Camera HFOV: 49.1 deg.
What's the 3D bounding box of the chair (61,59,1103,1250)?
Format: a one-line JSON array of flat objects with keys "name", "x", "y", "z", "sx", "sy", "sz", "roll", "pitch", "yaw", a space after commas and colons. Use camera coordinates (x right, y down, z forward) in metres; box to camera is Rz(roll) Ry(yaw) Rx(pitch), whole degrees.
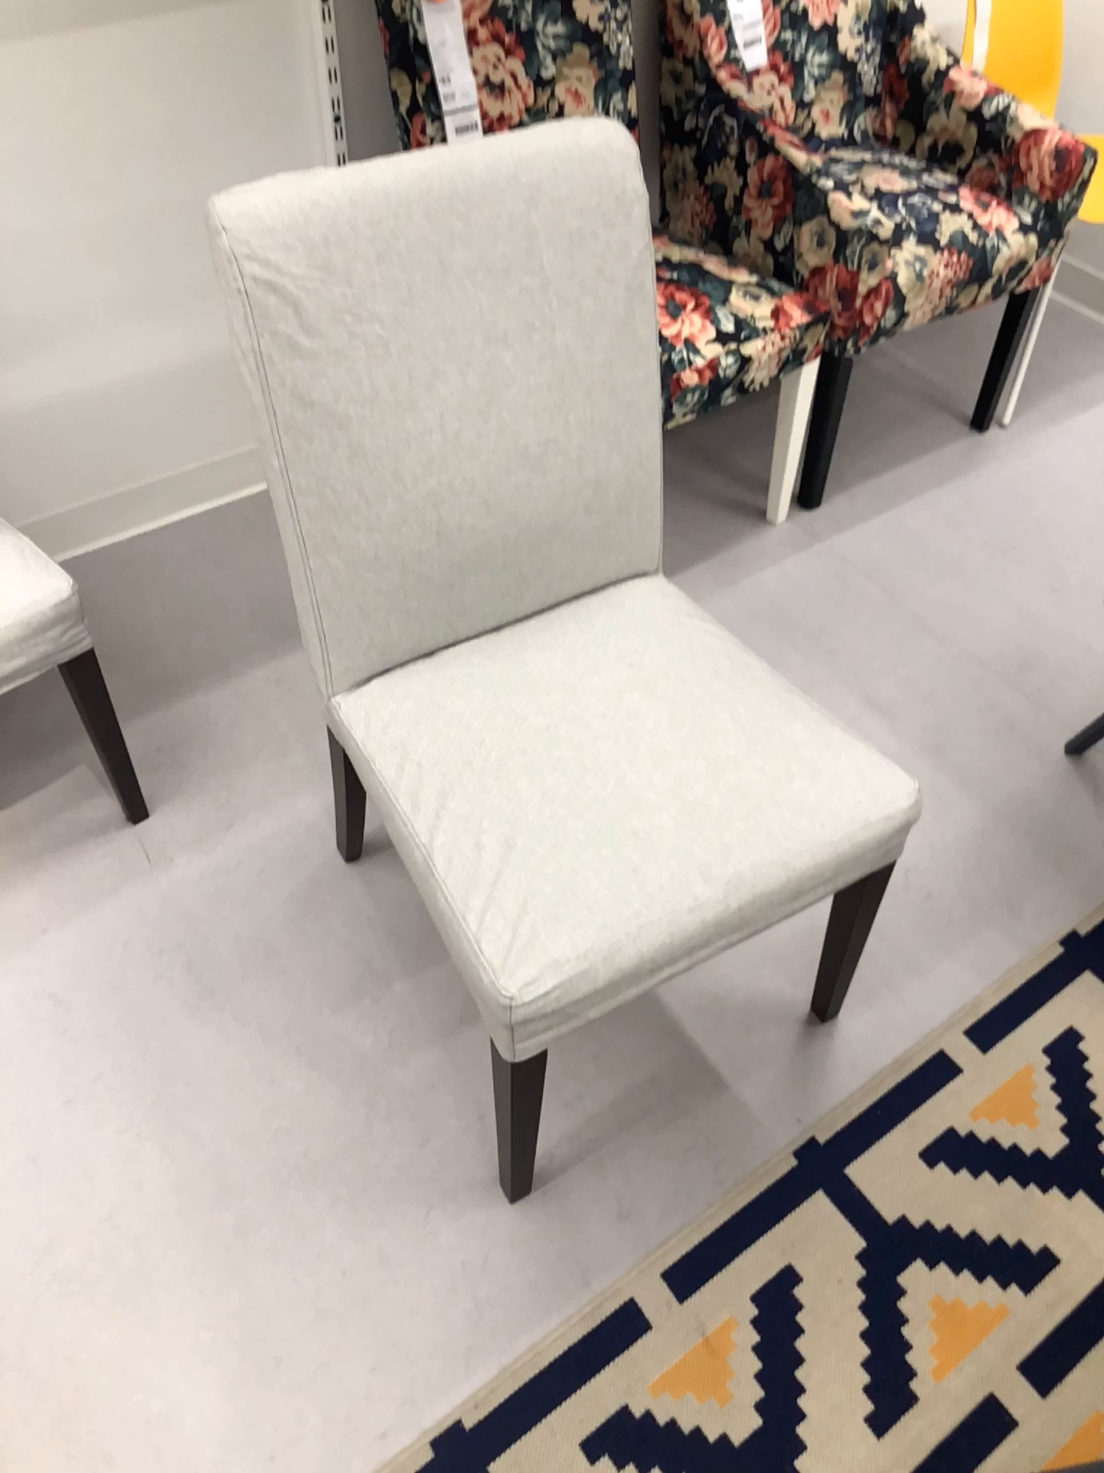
[{"name": "chair", "x": -0.004, "y": -0.072, "z": 1.218, "sx": 0.560, "sy": 0.854, "sz": 0.644, "roll": -24, "pitch": 52, "yaw": -22}]
